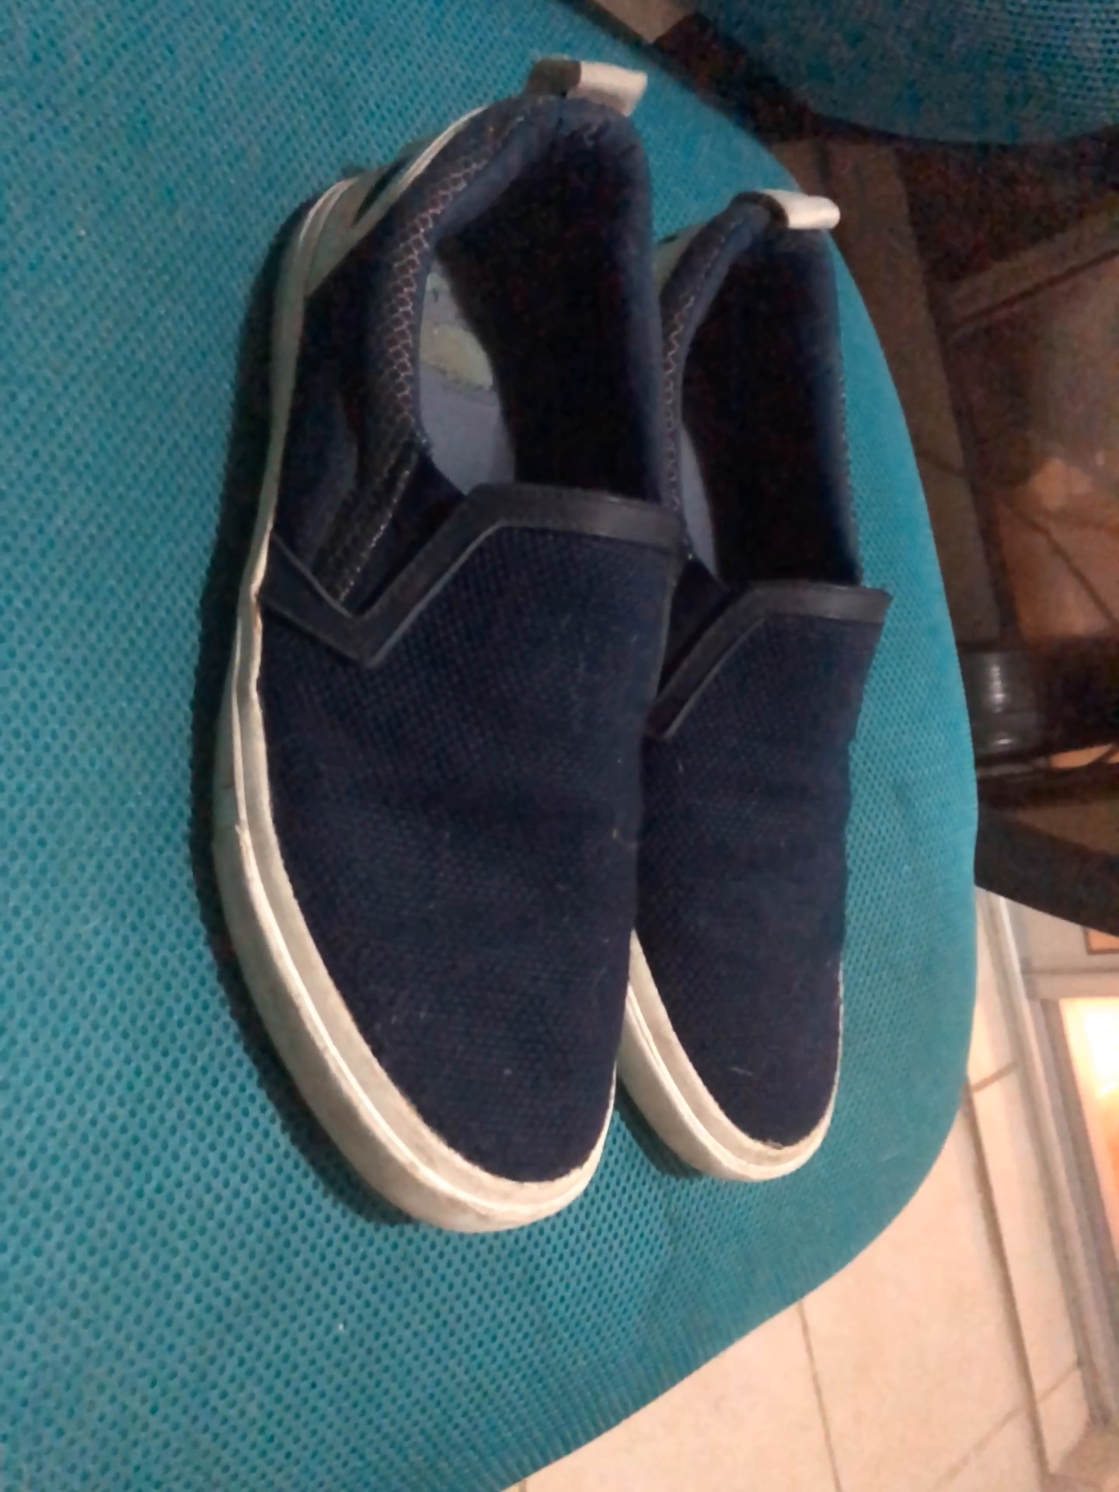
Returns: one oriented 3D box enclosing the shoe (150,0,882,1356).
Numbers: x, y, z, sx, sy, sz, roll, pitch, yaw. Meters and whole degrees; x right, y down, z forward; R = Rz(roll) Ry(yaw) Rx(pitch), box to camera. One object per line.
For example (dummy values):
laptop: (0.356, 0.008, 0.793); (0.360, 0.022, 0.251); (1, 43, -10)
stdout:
shoe: (-0.017, -0.031, 0.306); (0.121, 0.109, 0.290); (4, 78, -42)

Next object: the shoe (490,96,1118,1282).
shoe: (0.074, -0.013, 0.377); (0.121, 0.109, 0.290); (0, 80, -43)
